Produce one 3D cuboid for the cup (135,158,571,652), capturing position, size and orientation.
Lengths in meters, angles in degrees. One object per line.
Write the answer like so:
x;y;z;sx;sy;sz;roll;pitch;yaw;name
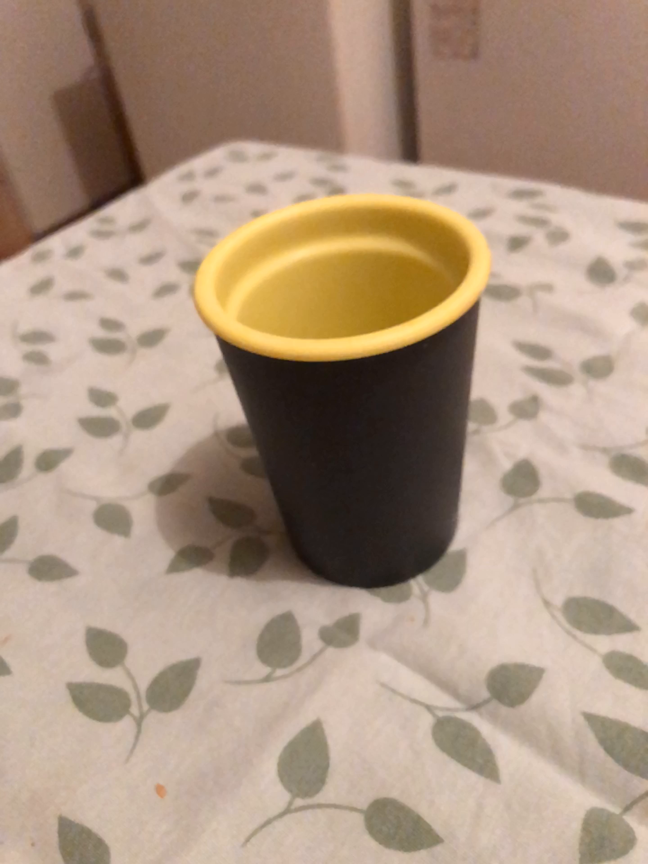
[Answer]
0.011;-0.012;0.247;0.090;0.109;0.090;-5;41;5;cup
